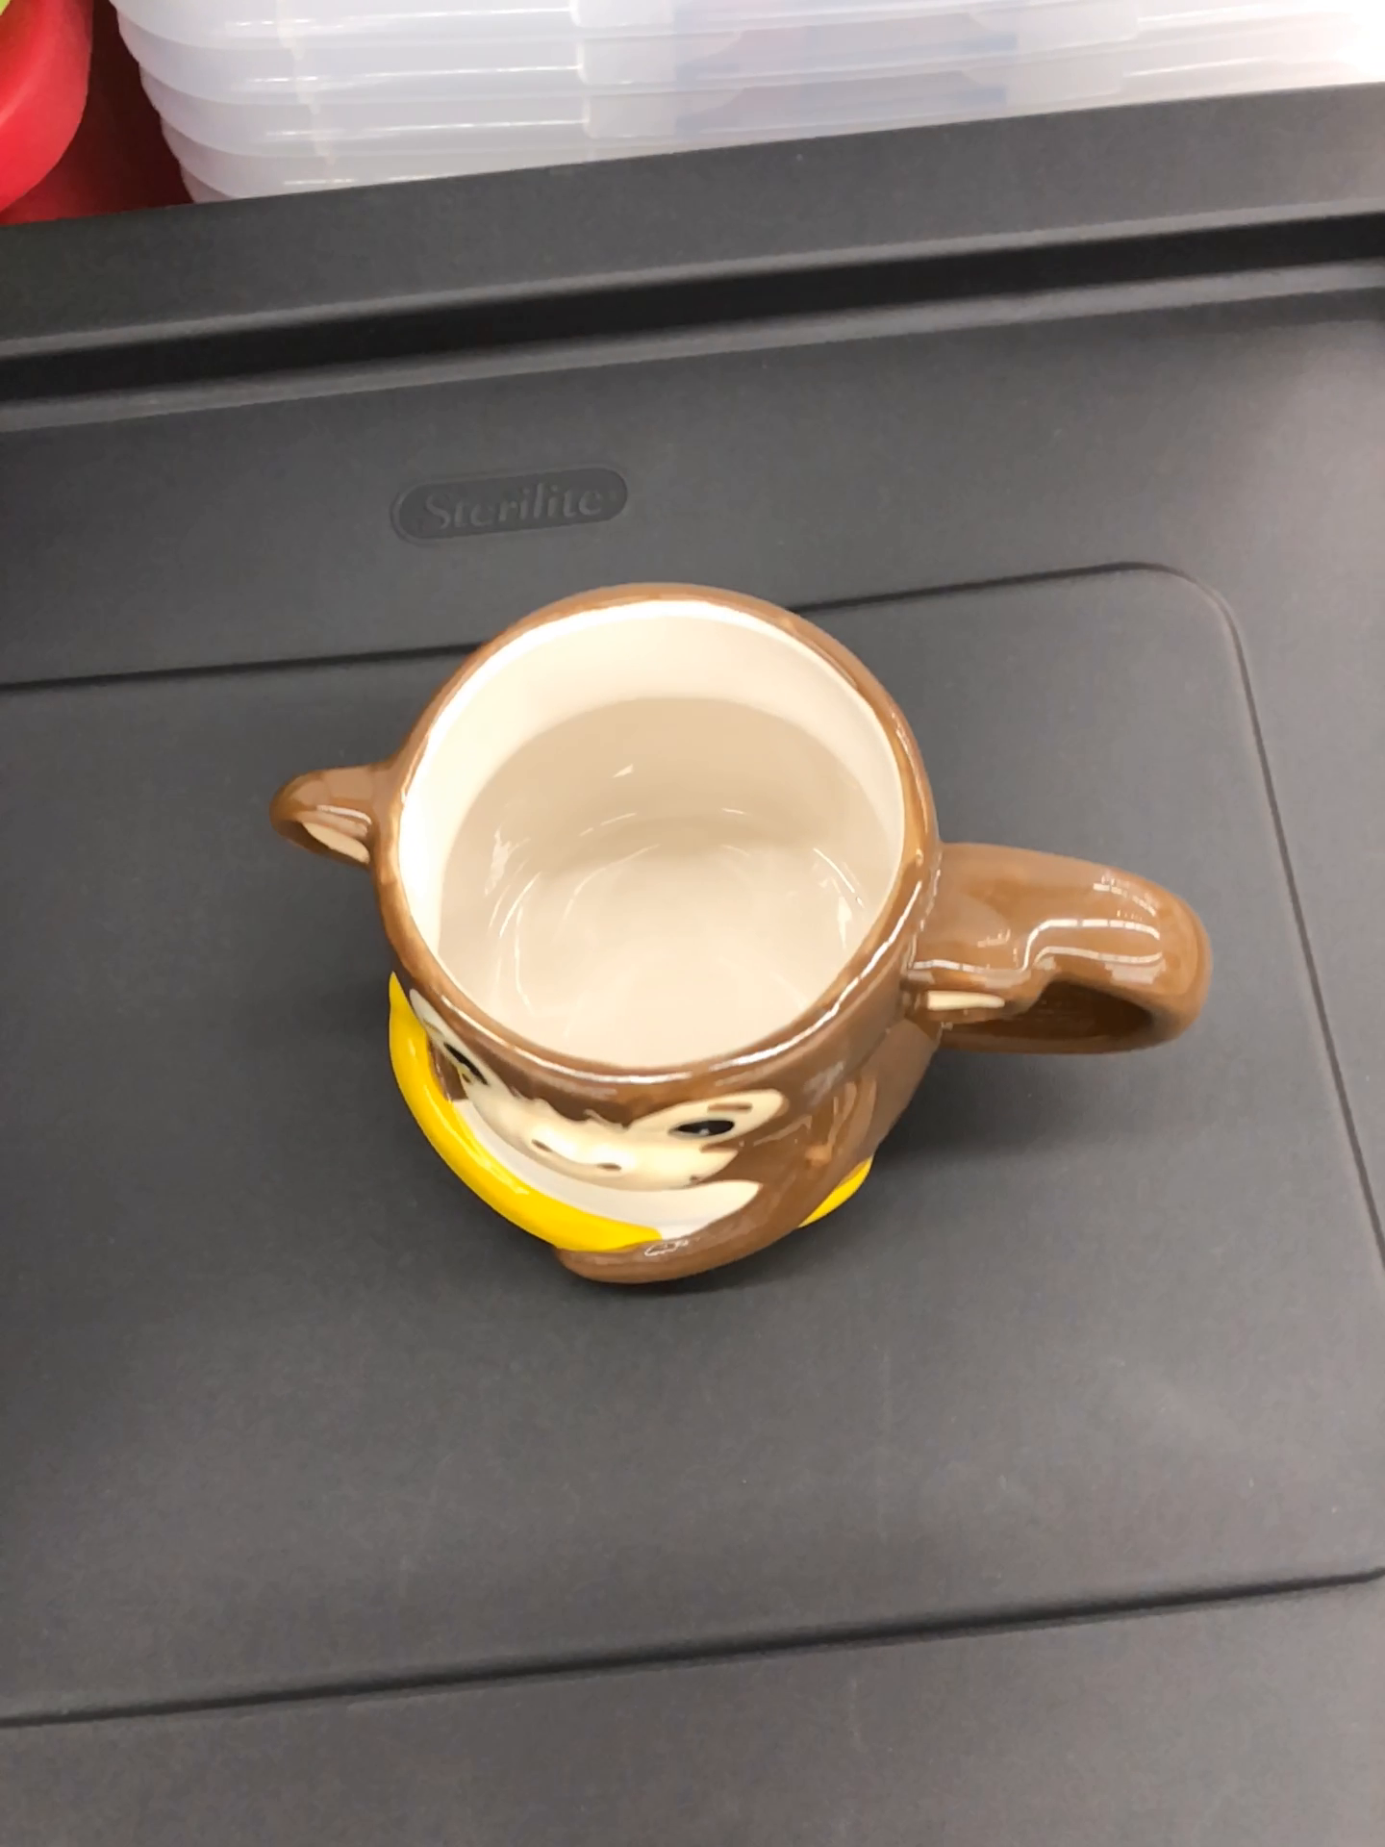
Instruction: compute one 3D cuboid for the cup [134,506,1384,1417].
[{"bbox_3d":[0.016,0.013,0.256,0.160,0.100,0.110,5,70,3],"label":"cup"}]
